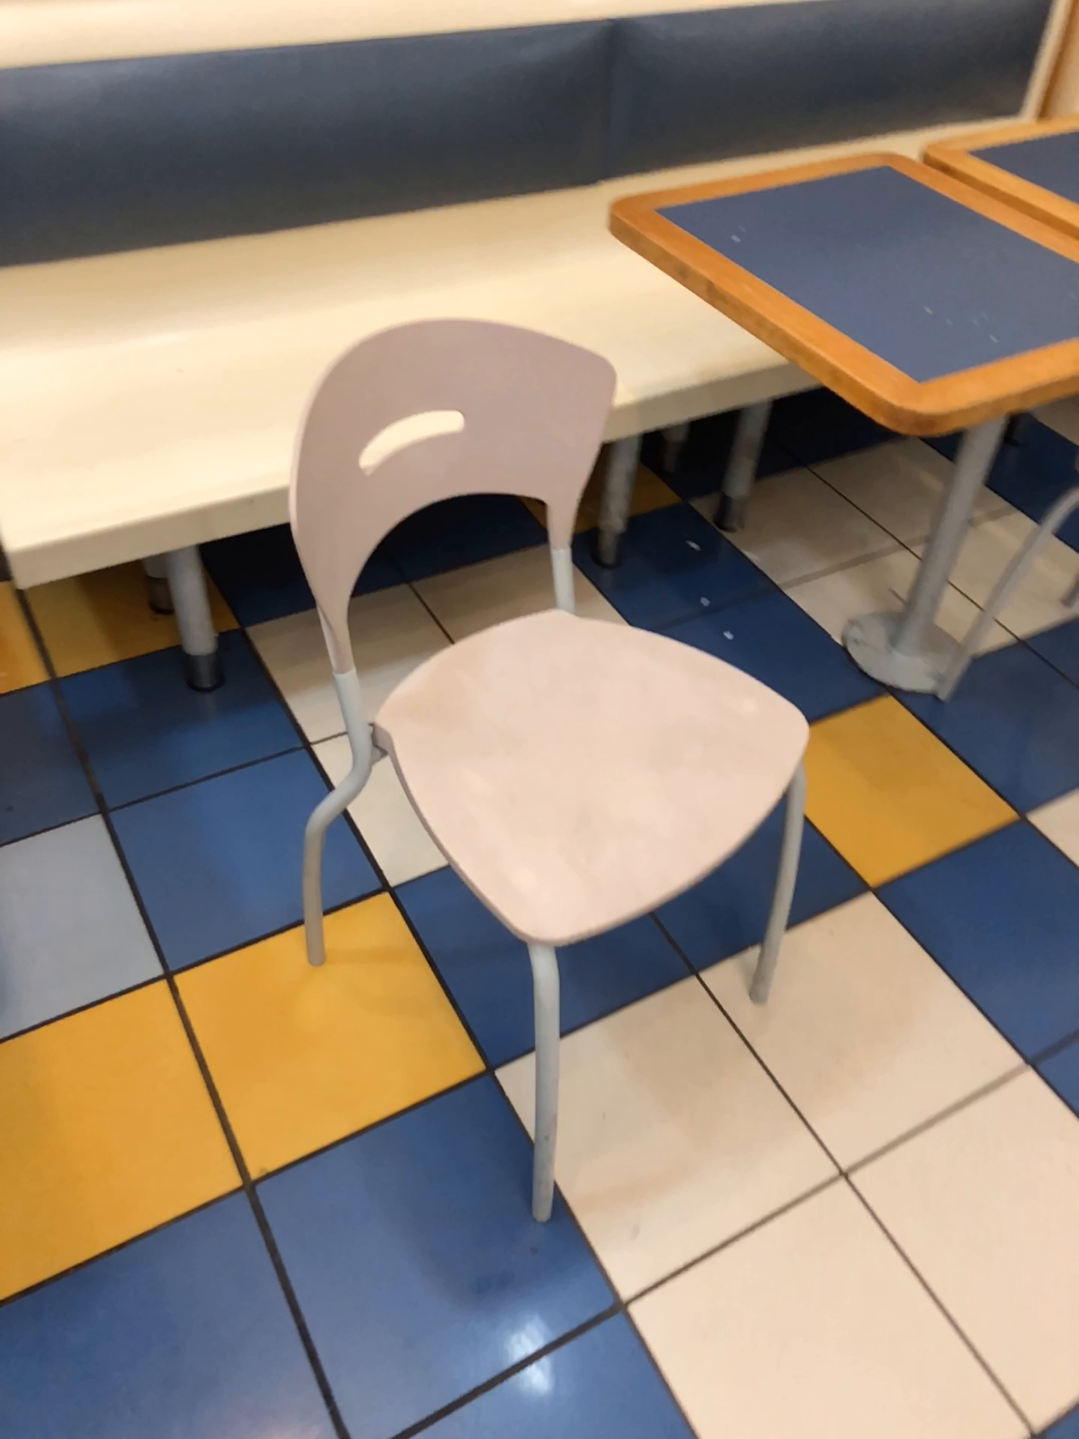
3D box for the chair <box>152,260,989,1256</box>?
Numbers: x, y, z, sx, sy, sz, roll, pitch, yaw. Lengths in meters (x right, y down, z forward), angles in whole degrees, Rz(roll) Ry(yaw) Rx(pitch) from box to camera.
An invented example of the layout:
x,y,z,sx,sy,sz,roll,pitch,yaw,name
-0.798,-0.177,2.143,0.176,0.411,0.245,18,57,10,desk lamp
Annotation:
x,y,z,sx,sy,sz,roll,pitch,yaw,name
0.002,0.051,1.212,0.511,0.774,0.442,36,52,28,chair
